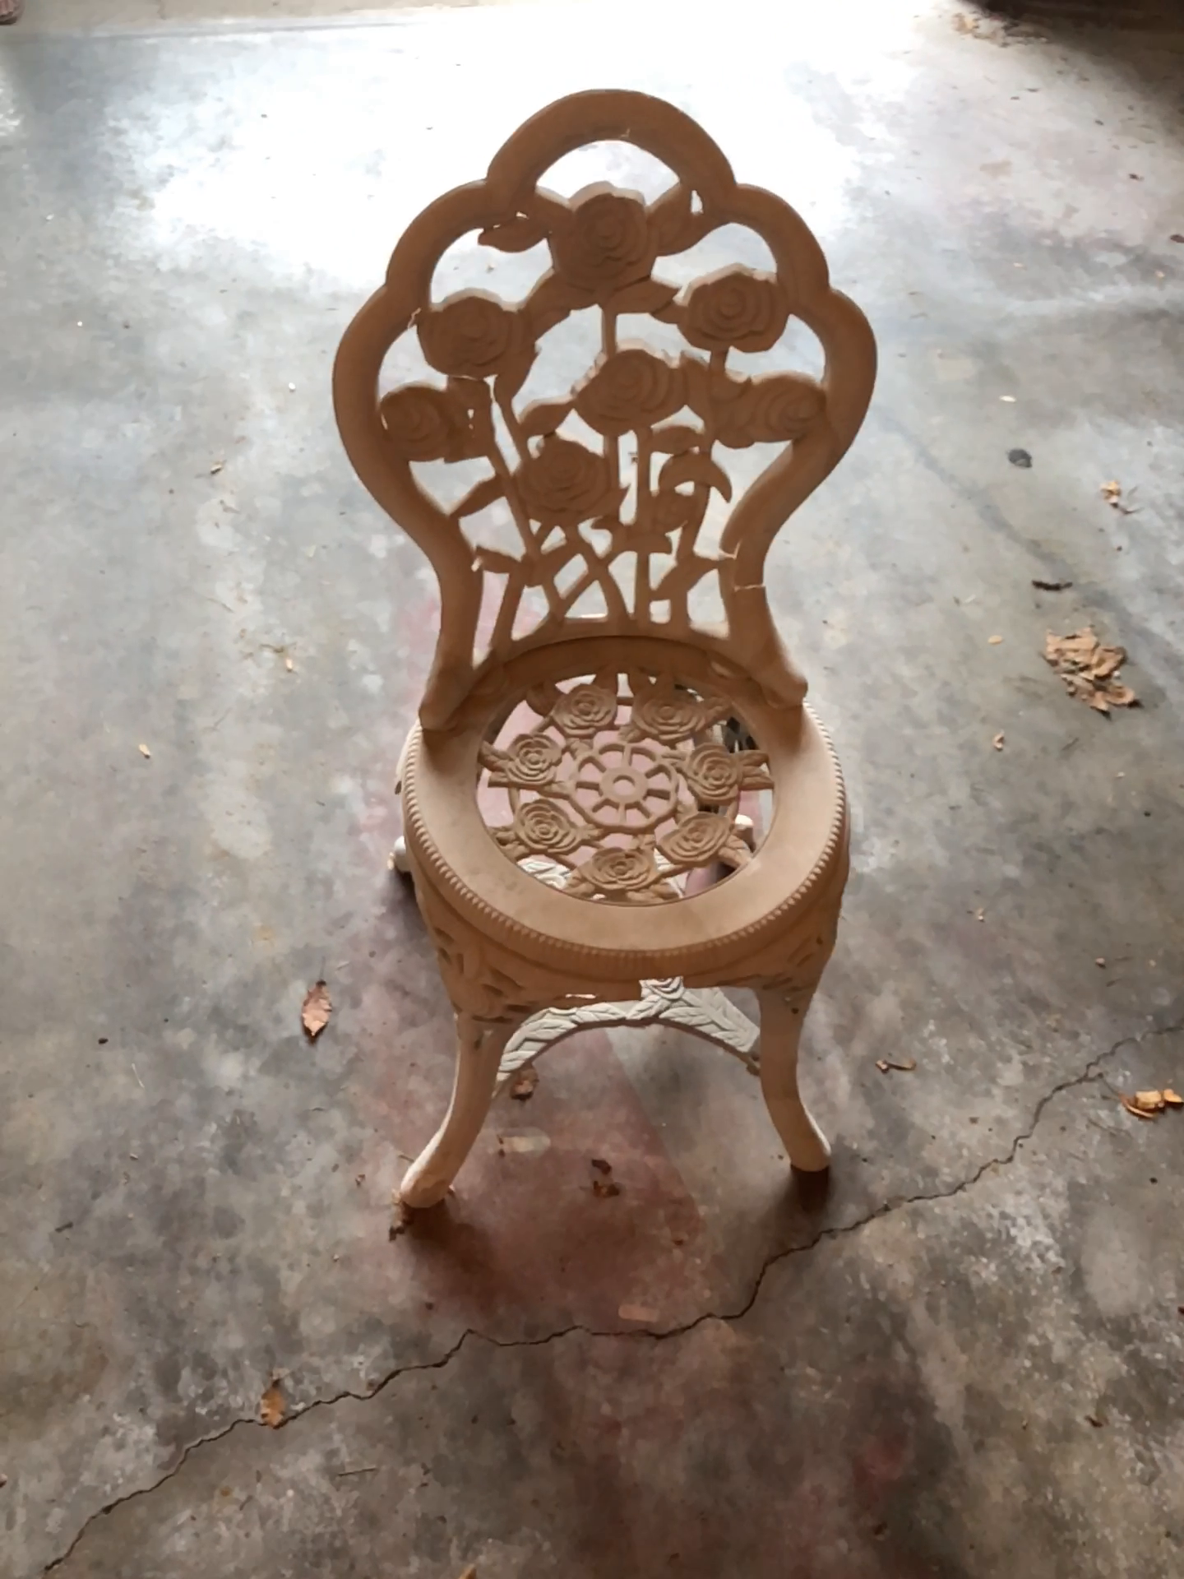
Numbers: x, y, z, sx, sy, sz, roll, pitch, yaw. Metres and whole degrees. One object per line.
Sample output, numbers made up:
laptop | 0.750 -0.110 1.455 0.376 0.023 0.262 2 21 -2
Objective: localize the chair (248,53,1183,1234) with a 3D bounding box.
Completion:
chair | 0.029 -0.044 1.124 0.490 0.899 0.500 -5 54 -7
